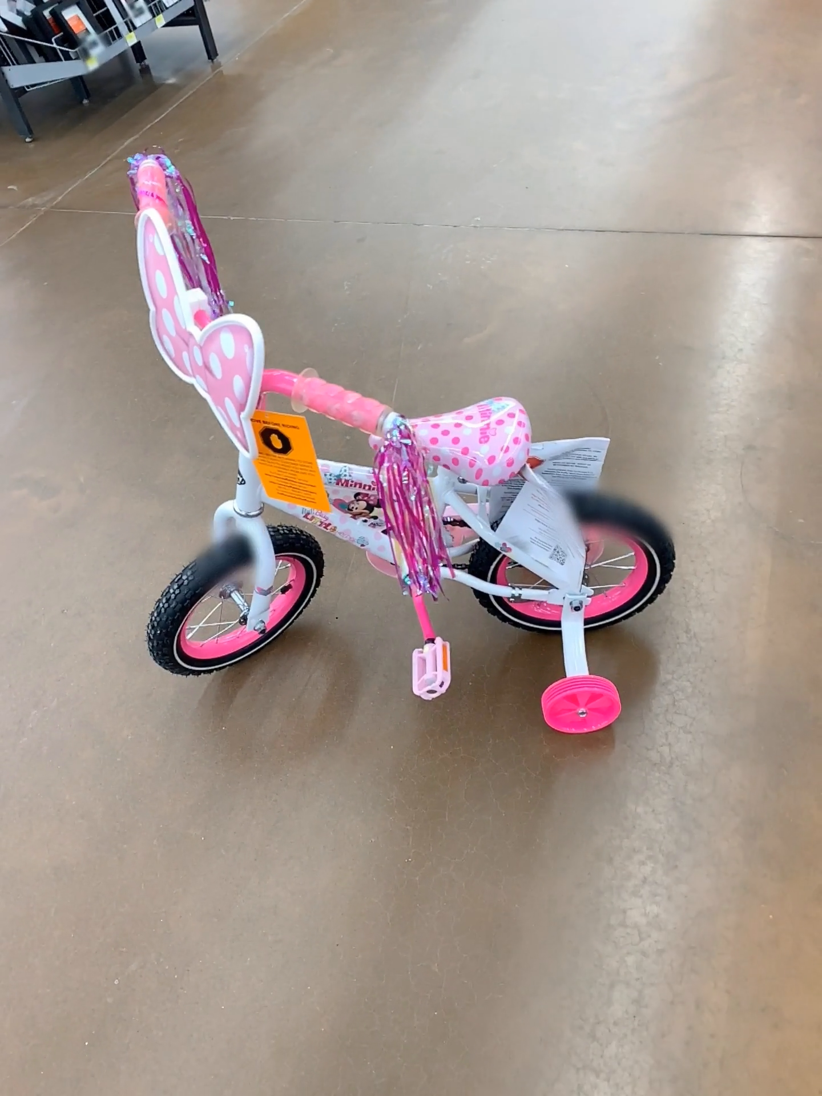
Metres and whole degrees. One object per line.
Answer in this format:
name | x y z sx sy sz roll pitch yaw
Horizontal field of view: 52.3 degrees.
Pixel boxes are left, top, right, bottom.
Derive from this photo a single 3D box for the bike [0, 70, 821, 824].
bike | -0.036 -0.063 1.102 0.776 0.707 0.429 -12 46 5
